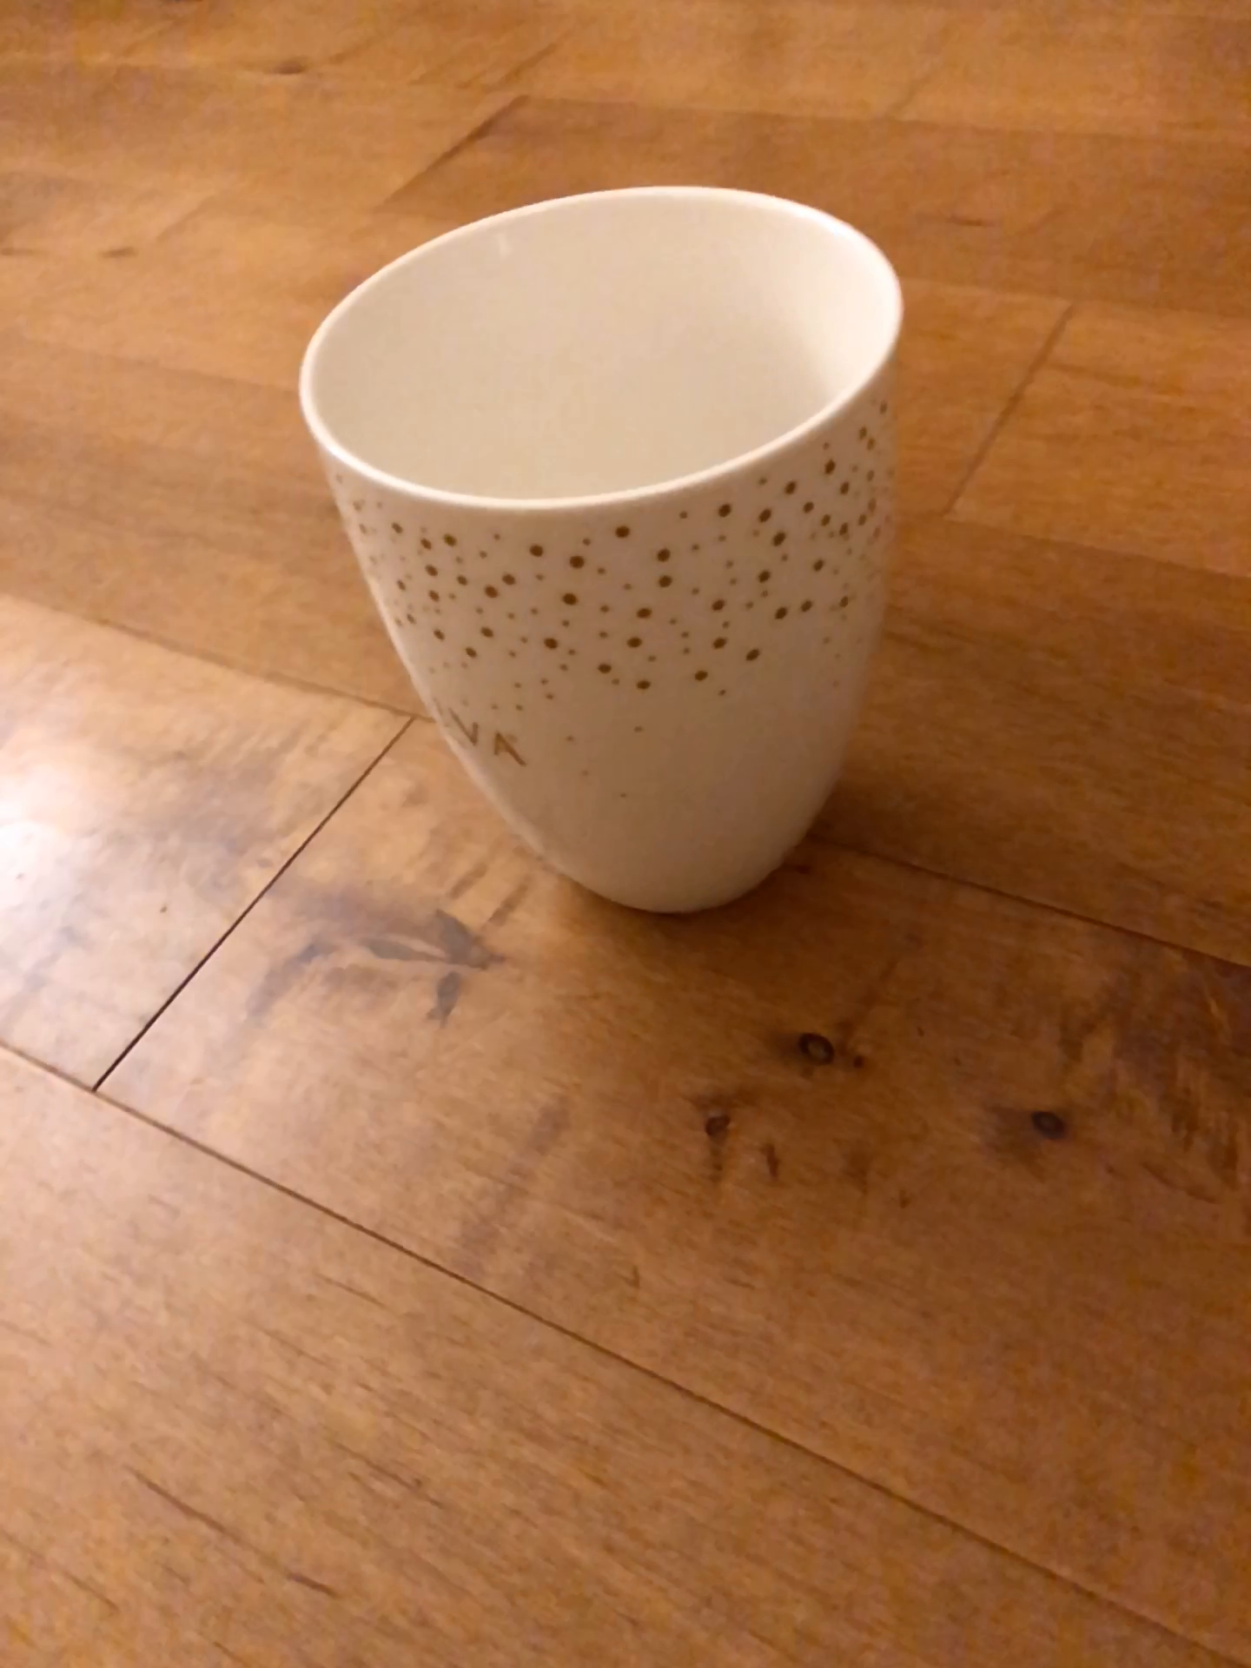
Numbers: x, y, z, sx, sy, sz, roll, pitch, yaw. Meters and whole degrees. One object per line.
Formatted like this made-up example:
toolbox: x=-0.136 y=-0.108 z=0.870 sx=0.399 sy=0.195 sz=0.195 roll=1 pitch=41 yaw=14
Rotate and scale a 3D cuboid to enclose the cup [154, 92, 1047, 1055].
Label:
cup: x=-0.008 y=-0.060 z=0.287 sx=0.110 sy=0.109 sz=0.141 roll=-26 pitch=48 yaw=-12
